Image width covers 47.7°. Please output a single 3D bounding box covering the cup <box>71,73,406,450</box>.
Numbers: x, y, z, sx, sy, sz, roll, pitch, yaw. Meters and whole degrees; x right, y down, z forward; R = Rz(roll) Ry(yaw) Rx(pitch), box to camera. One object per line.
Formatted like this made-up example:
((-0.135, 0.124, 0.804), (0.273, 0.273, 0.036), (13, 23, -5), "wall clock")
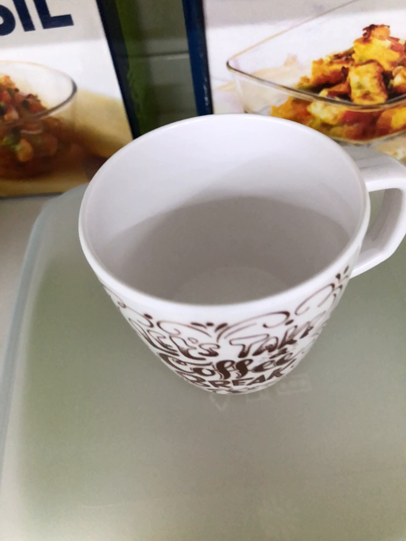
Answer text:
((0.020, -0.002, 0.144), (0.100, 0.070, 0.070), (-13, 50, -3), "cup")
